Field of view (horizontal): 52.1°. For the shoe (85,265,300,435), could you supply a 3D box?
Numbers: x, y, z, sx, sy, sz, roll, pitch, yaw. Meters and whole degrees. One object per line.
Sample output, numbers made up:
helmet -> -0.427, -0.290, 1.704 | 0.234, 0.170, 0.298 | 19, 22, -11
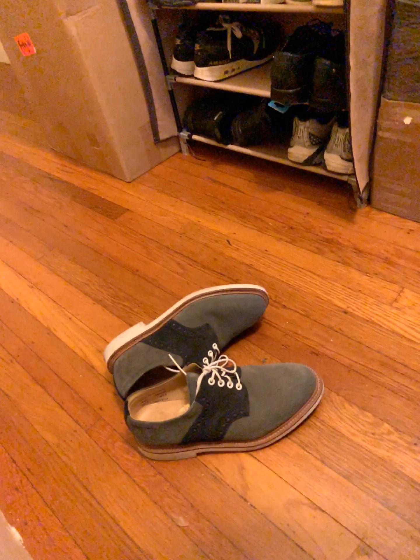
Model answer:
shoe -> -0.023, 0.112, 0.701 | 0.310, 0.129, 0.121 | -20, 47, -7

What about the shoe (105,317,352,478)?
shoe -> 0.021, 0.166, 0.609 | 0.310, 0.099, 0.131 | -12, 44, 2
